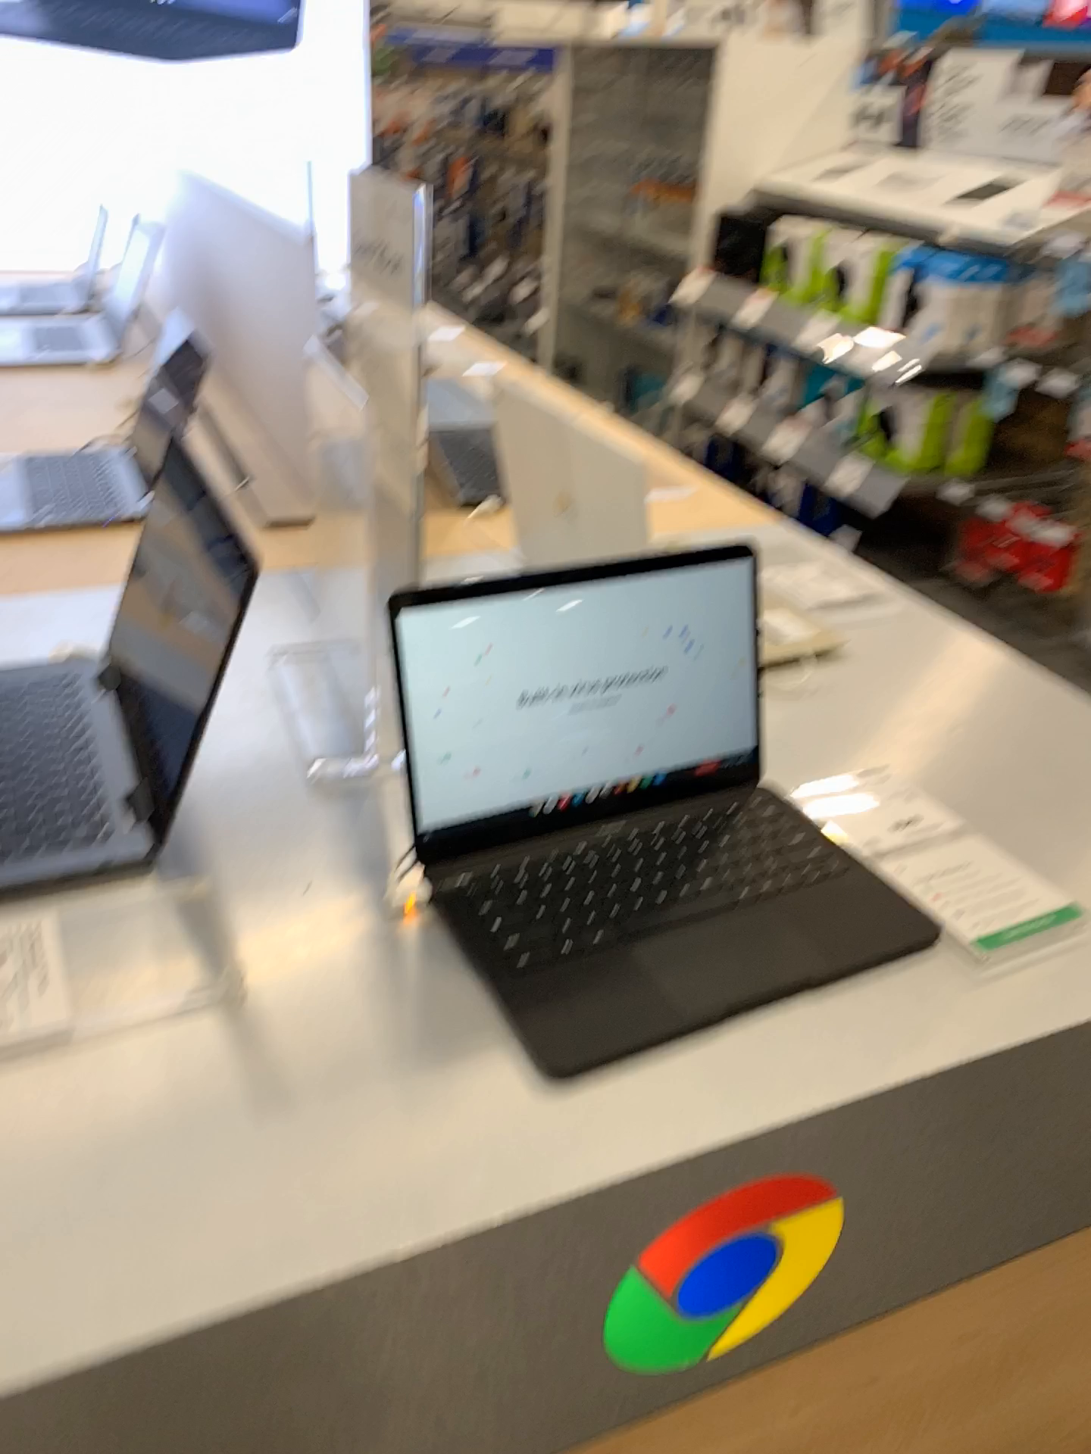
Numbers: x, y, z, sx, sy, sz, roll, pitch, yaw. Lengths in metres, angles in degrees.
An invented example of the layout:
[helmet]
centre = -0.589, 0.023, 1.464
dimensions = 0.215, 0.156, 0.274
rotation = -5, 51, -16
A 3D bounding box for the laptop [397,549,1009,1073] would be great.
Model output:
[laptop]
centre = 0.085, 0.029, 0.745
dimensions = 0.294, 0.180, 0.254
rotation = -12, 34, -26
